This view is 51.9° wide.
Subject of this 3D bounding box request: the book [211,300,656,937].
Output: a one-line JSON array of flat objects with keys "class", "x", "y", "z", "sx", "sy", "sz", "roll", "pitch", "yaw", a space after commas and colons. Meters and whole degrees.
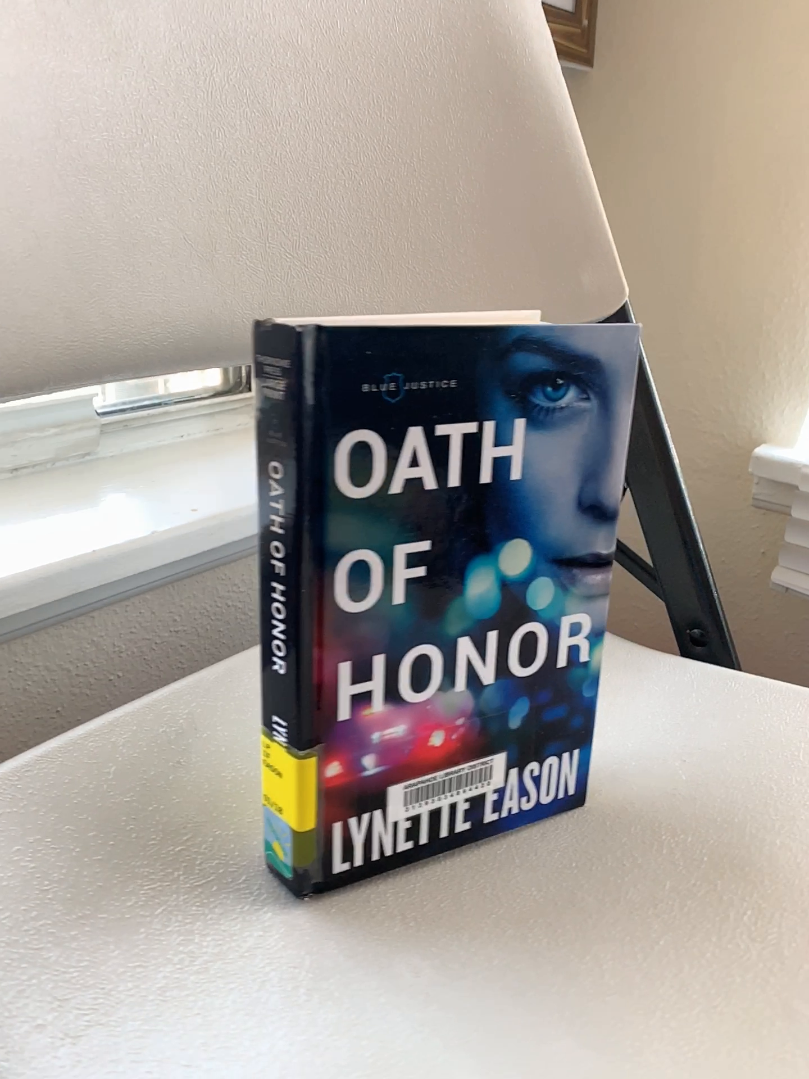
[{"class": "book", "x": 0.014, "y": 0.019, "z": 0.334, "sx": 0.155, "sy": 0.217, "sz": 0.063, "roll": -11, "pitch": 21, "yaw": -33}]
